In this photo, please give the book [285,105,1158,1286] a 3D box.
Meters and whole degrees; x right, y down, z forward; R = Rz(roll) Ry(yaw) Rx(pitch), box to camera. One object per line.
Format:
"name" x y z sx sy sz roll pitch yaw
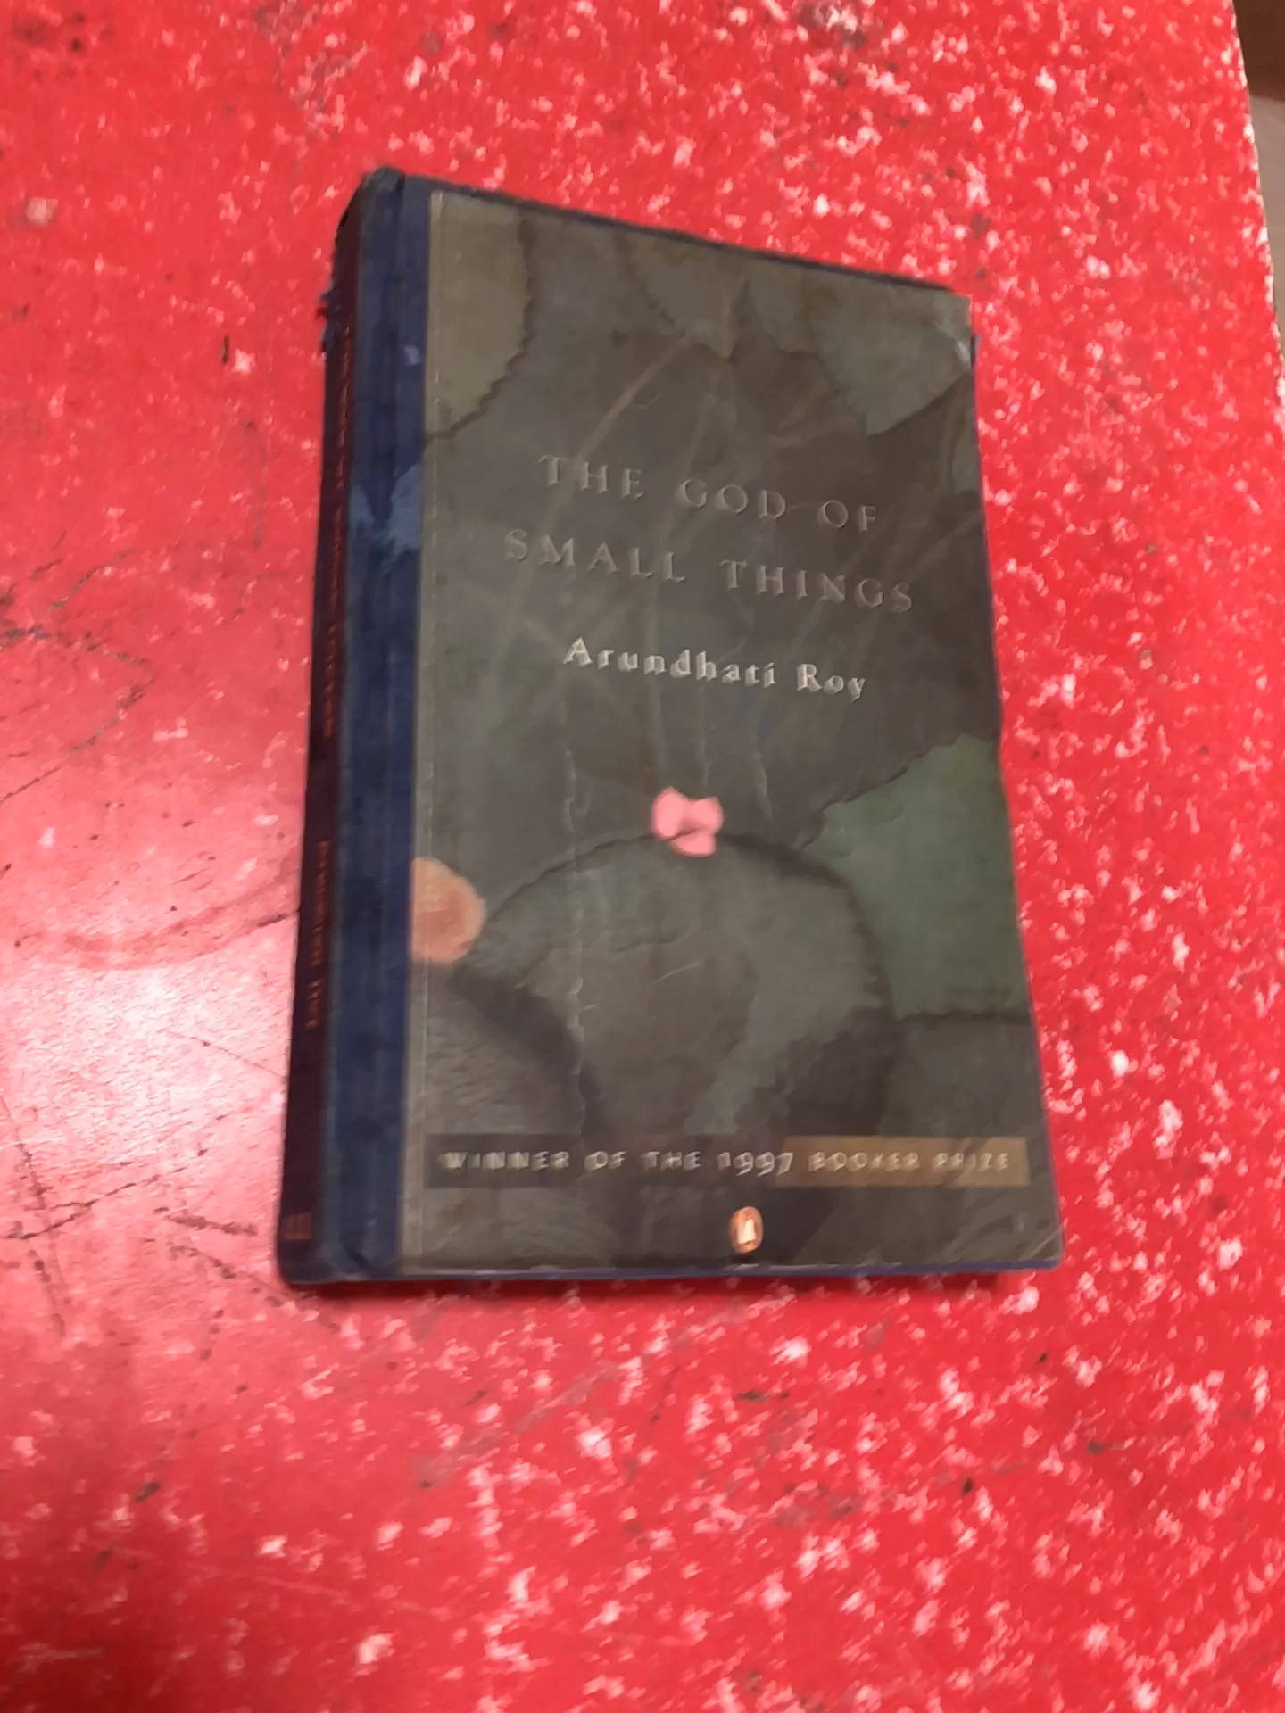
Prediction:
"book" 0.015 -0.029 0.286 0.150 0.040 0.220 5 72 -16
